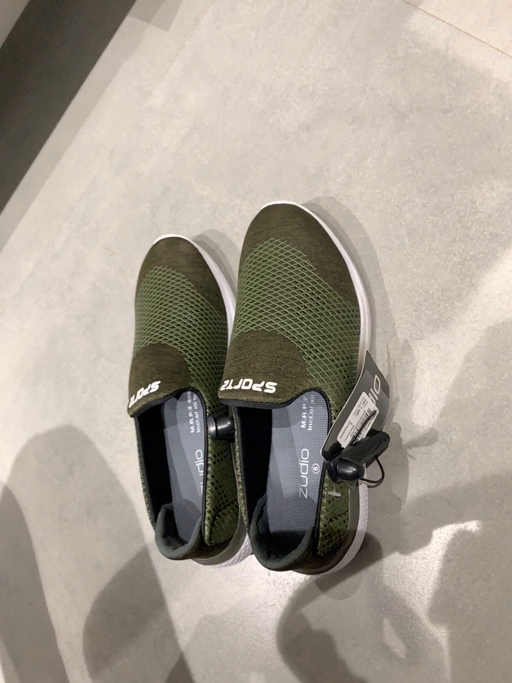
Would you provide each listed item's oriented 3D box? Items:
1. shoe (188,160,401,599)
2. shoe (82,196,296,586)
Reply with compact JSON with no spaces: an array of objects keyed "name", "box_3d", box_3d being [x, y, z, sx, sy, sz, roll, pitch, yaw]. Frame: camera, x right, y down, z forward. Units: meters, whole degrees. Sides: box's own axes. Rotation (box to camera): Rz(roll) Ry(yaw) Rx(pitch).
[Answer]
[{"name":"shoe","box_3d":[0.028,0.028,0.401,0.100,0.100,0.280,-11,79,28]},{"name":"shoe","box_3d":[-0.059,0.040,0.444,0.100,0.100,0.280,-17,76,27]}]
